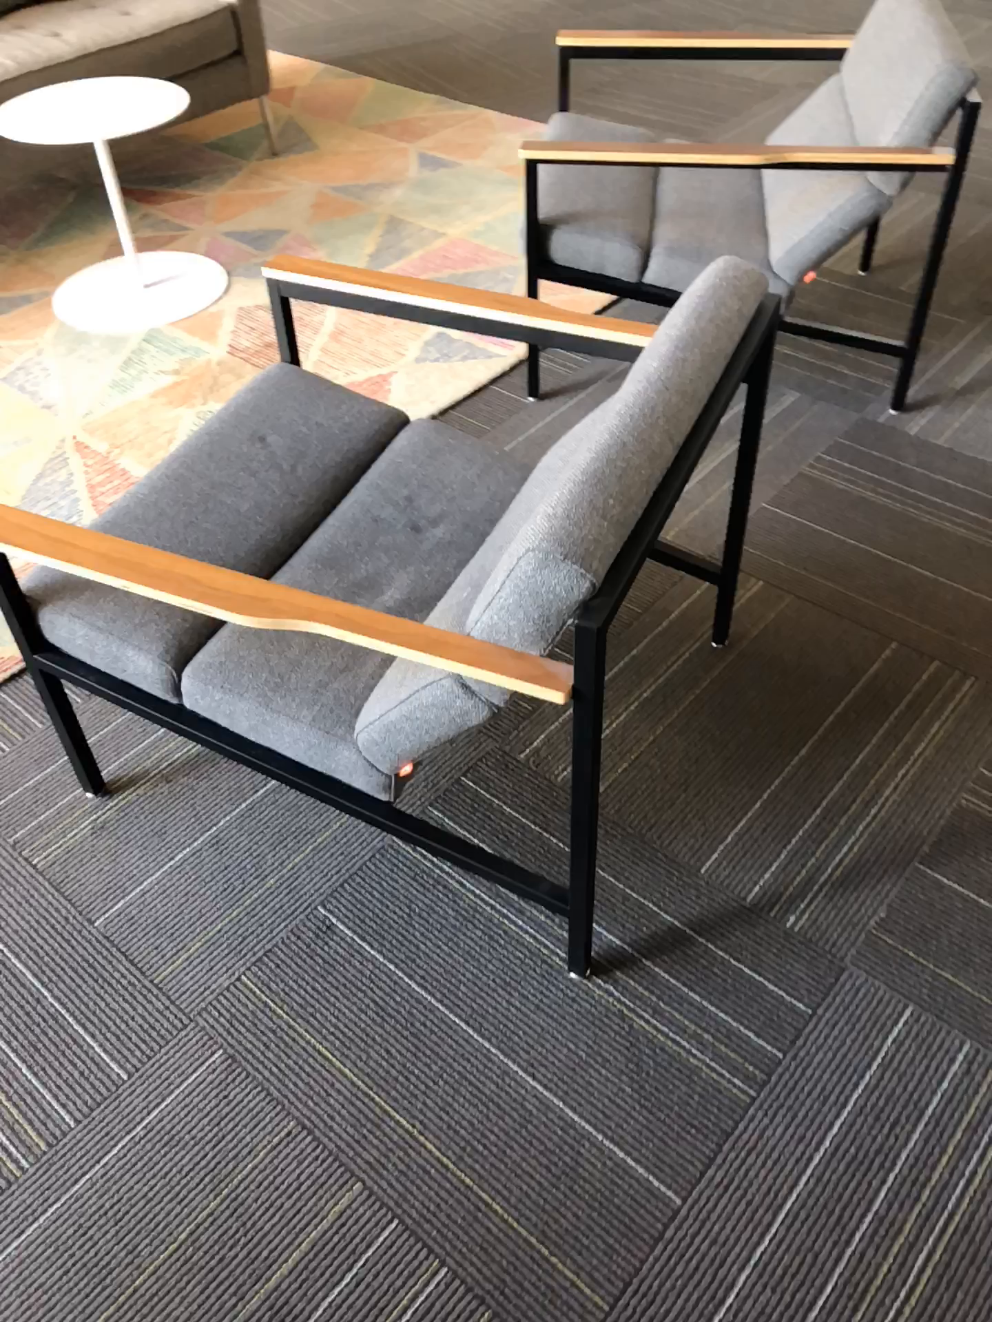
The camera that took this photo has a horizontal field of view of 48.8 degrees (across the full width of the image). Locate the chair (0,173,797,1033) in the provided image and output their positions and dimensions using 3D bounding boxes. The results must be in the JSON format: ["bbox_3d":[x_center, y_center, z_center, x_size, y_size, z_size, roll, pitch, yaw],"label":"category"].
[{"bbox_3d":[-0.164,-0.150,1.533,0.921,0.697,0.793,13,46,19],"label":"chair"}]
